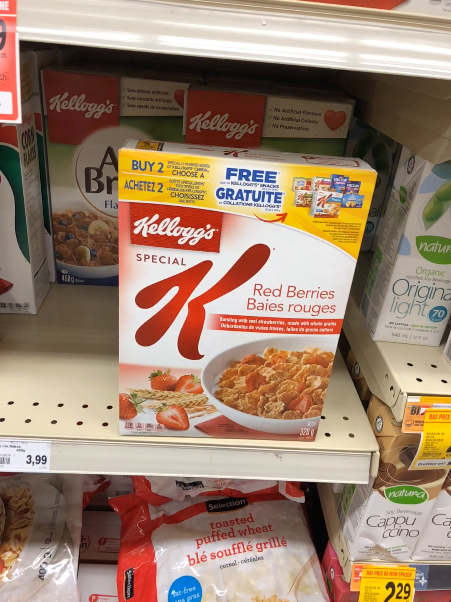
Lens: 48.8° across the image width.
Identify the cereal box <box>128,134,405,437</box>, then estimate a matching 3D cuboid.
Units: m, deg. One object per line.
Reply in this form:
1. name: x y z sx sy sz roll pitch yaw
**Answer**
1. cereal box: 0.018 0.001 0.418 0.190 0.248 0.050 3 29 -5
